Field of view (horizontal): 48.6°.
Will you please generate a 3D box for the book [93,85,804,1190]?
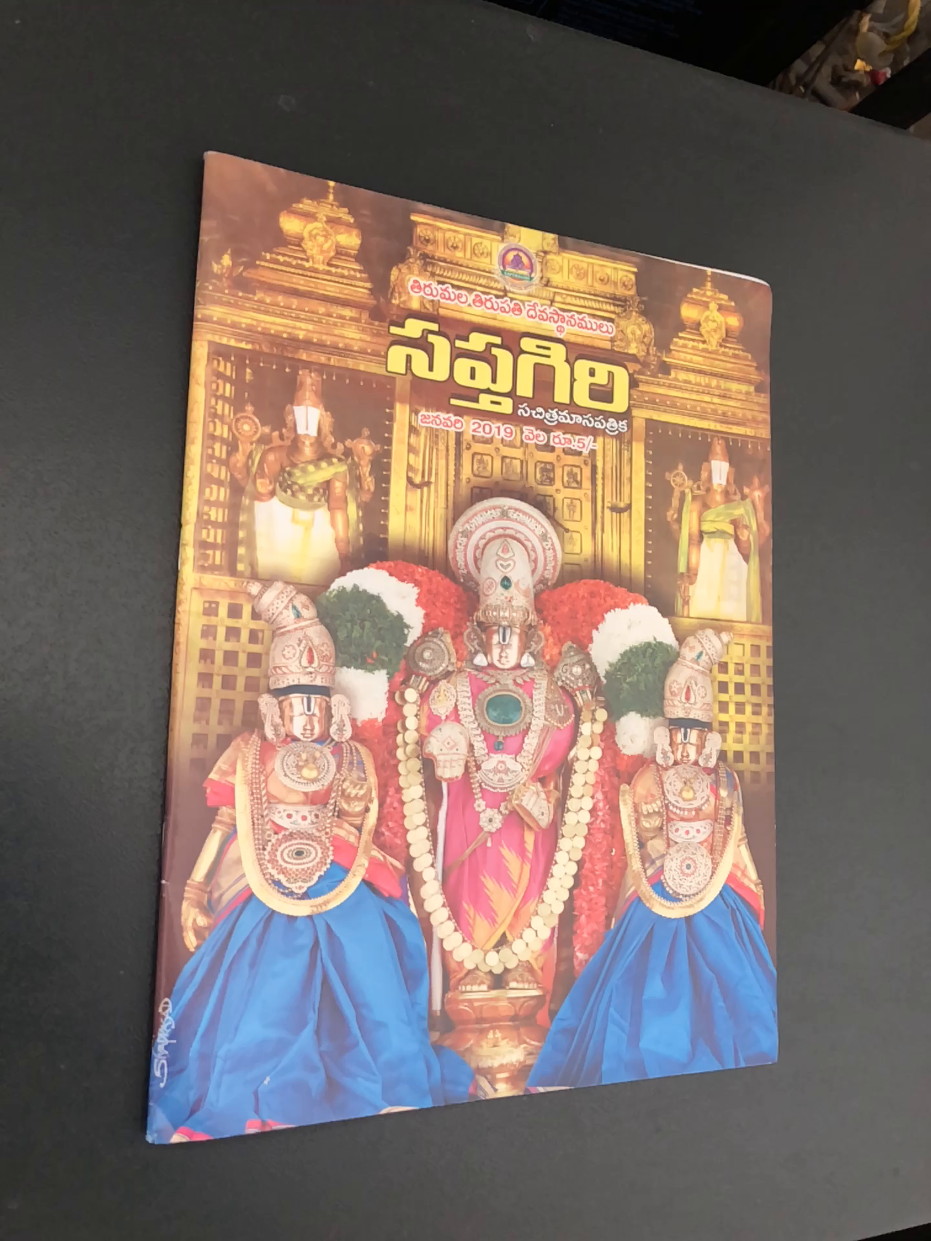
[{"bbox_3d":[0.006,0.003,0.302,0.200,0.030,0.270,4,83,-22],"label":"book"}]
